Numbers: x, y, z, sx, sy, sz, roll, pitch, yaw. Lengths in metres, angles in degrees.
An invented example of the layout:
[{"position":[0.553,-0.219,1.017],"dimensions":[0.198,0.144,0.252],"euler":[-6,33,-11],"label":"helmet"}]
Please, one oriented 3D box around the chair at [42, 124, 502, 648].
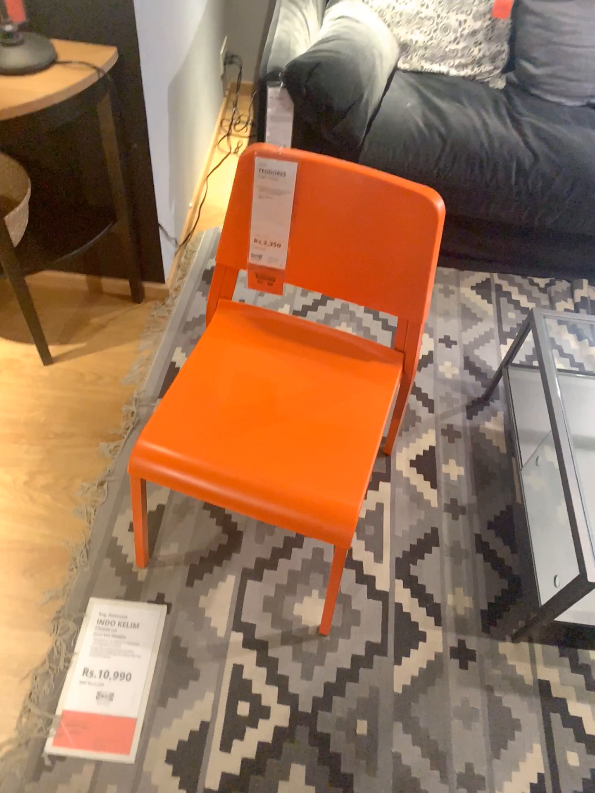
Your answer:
[{"position":[-0.014,0.014,1.183],"dimensions":[0.520,0.728,0.582],"euler":[17,53,7],"label":"chair"}]
